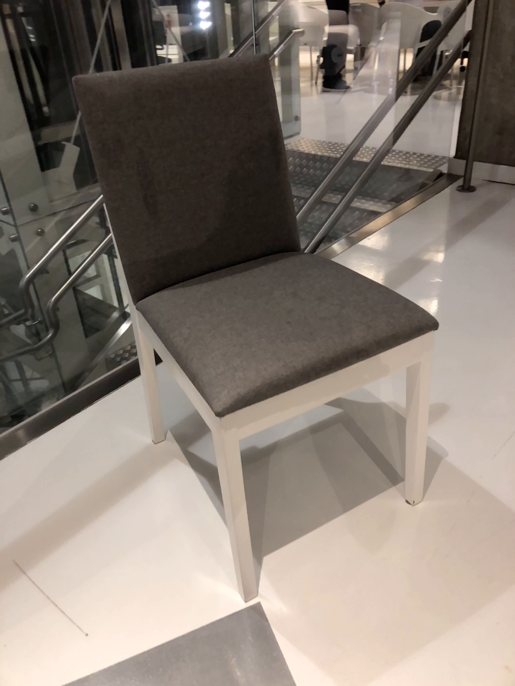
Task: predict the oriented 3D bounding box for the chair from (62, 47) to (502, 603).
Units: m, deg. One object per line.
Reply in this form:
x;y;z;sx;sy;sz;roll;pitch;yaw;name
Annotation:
0.019;-0.077;1.122;0.481;0.843;0.563;-19;35;-23;chair
